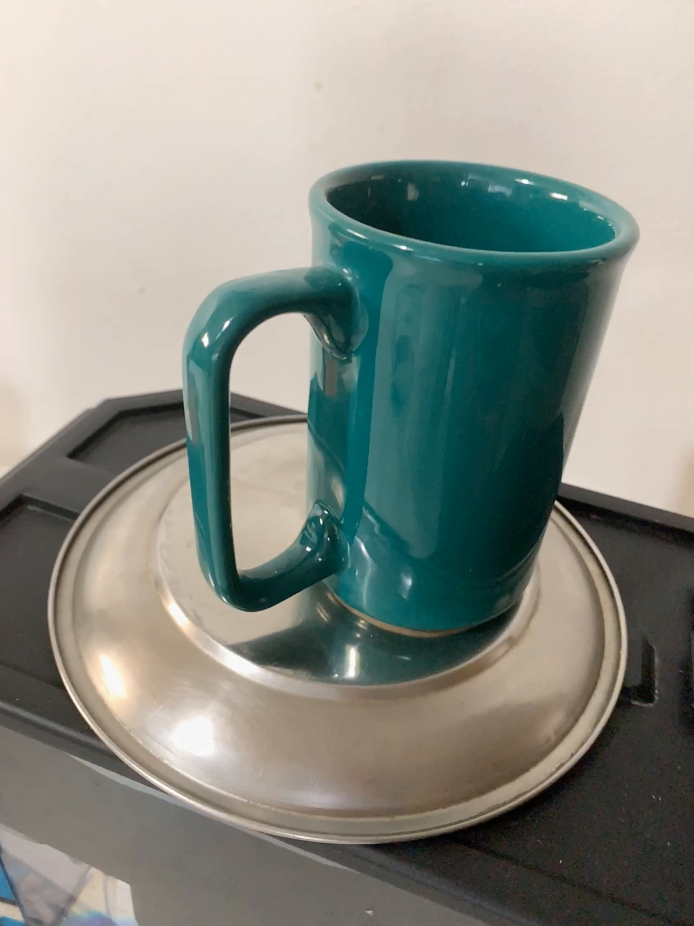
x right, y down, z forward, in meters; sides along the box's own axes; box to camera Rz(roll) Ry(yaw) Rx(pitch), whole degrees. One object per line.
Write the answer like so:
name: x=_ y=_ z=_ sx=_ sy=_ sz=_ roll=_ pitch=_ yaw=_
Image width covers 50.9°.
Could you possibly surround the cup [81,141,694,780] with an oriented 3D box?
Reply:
cup: x=0.010 y=-0.011 z=0.197 sx=0.120 sy=0.119 sz=0.080 roll=-19 pitch=41 yaw=-32
